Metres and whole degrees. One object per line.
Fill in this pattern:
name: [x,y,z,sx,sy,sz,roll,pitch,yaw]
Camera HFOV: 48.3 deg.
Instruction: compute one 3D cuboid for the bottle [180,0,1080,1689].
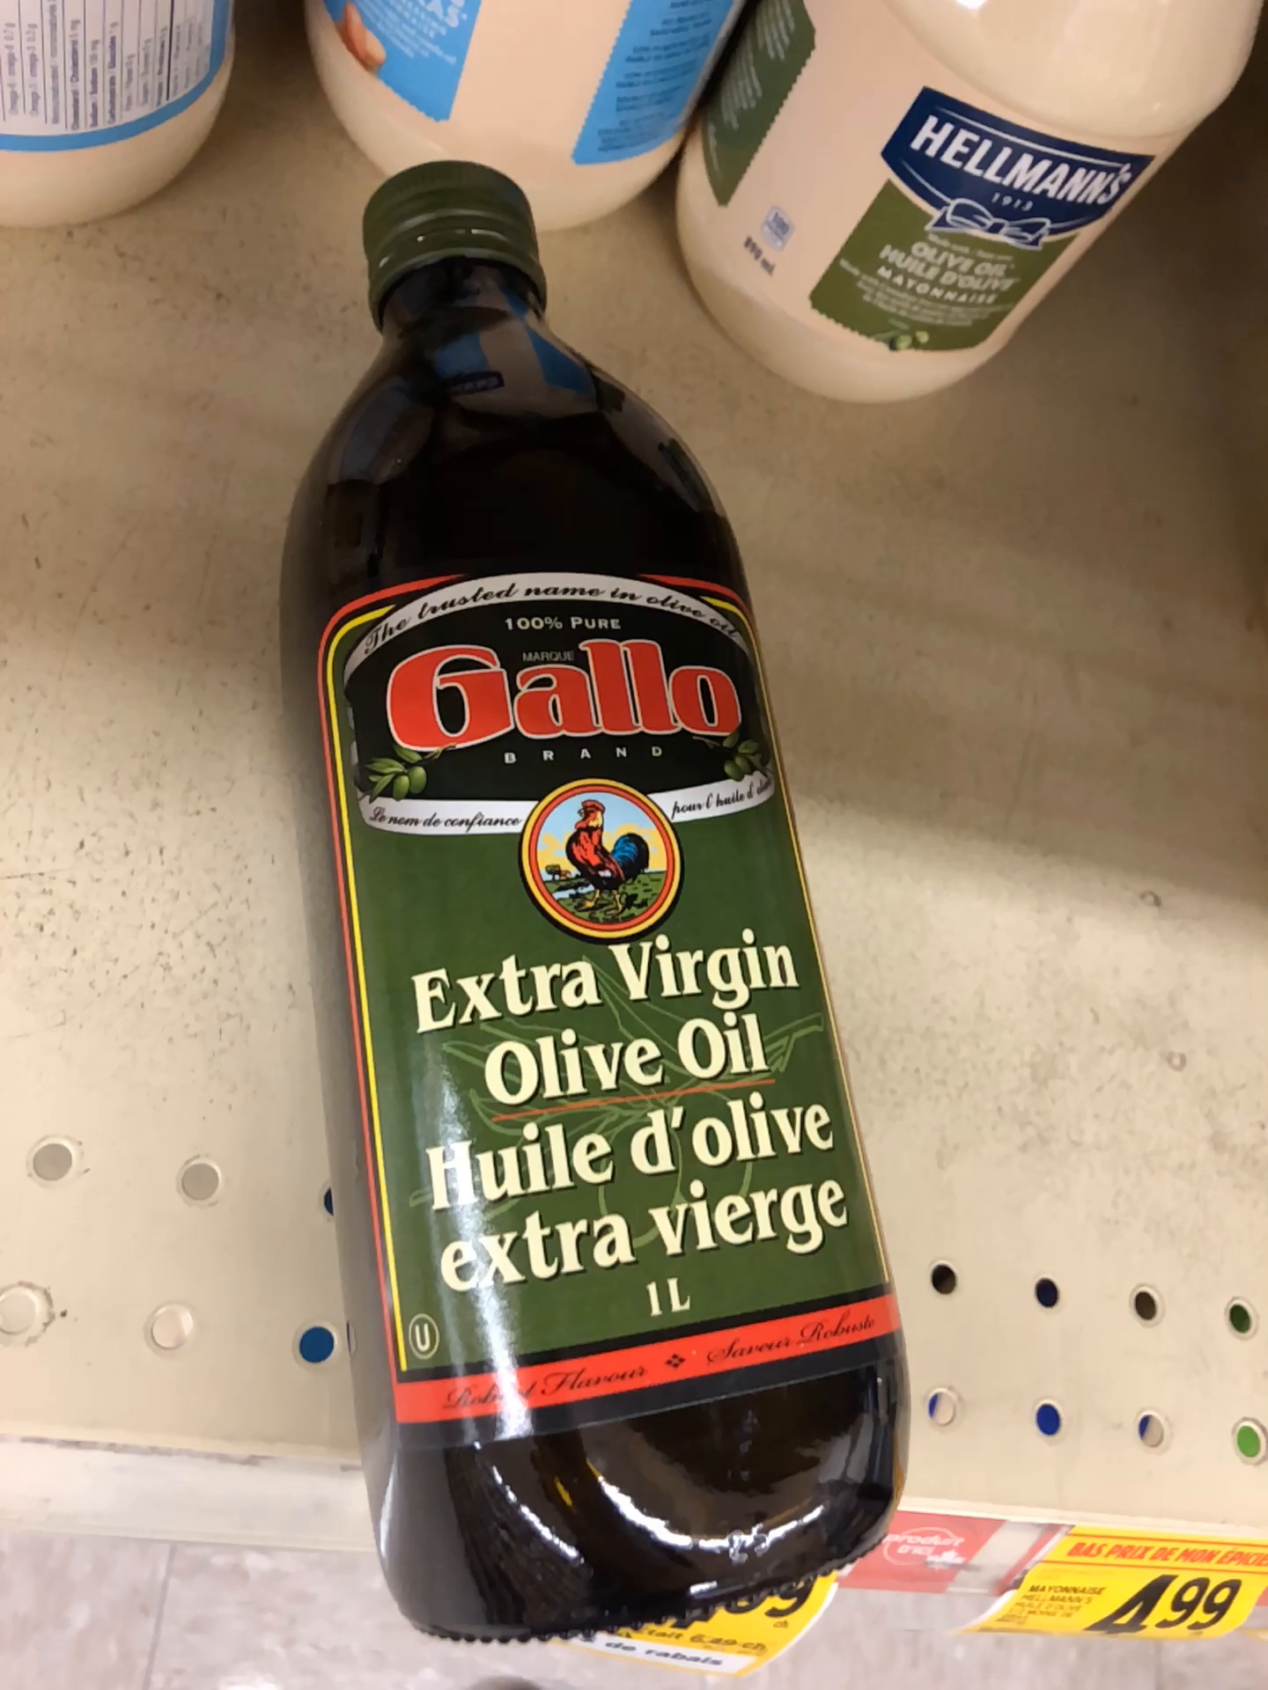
bottle: [-0.020,-0.015,0.249,0.090,0.090,0.271,-4,72,-21]
